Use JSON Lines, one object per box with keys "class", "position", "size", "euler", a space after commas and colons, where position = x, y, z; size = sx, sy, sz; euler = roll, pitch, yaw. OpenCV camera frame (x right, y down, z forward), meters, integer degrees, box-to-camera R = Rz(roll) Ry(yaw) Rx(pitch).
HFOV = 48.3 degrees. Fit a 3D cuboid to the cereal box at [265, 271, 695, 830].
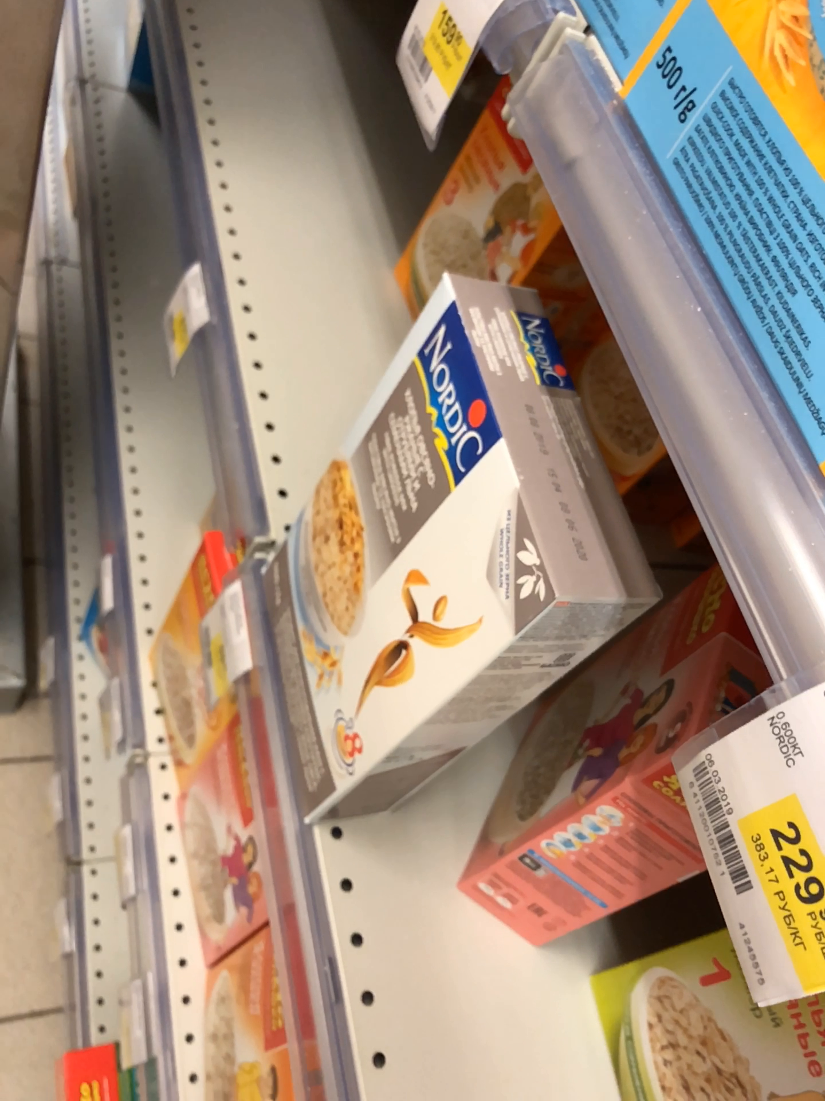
{"class": "cereal box", "position": [0.006, 0.016, 0.409], "size": [0.050, 0.229, 0.140], "euler": [2, 57, -29]}
